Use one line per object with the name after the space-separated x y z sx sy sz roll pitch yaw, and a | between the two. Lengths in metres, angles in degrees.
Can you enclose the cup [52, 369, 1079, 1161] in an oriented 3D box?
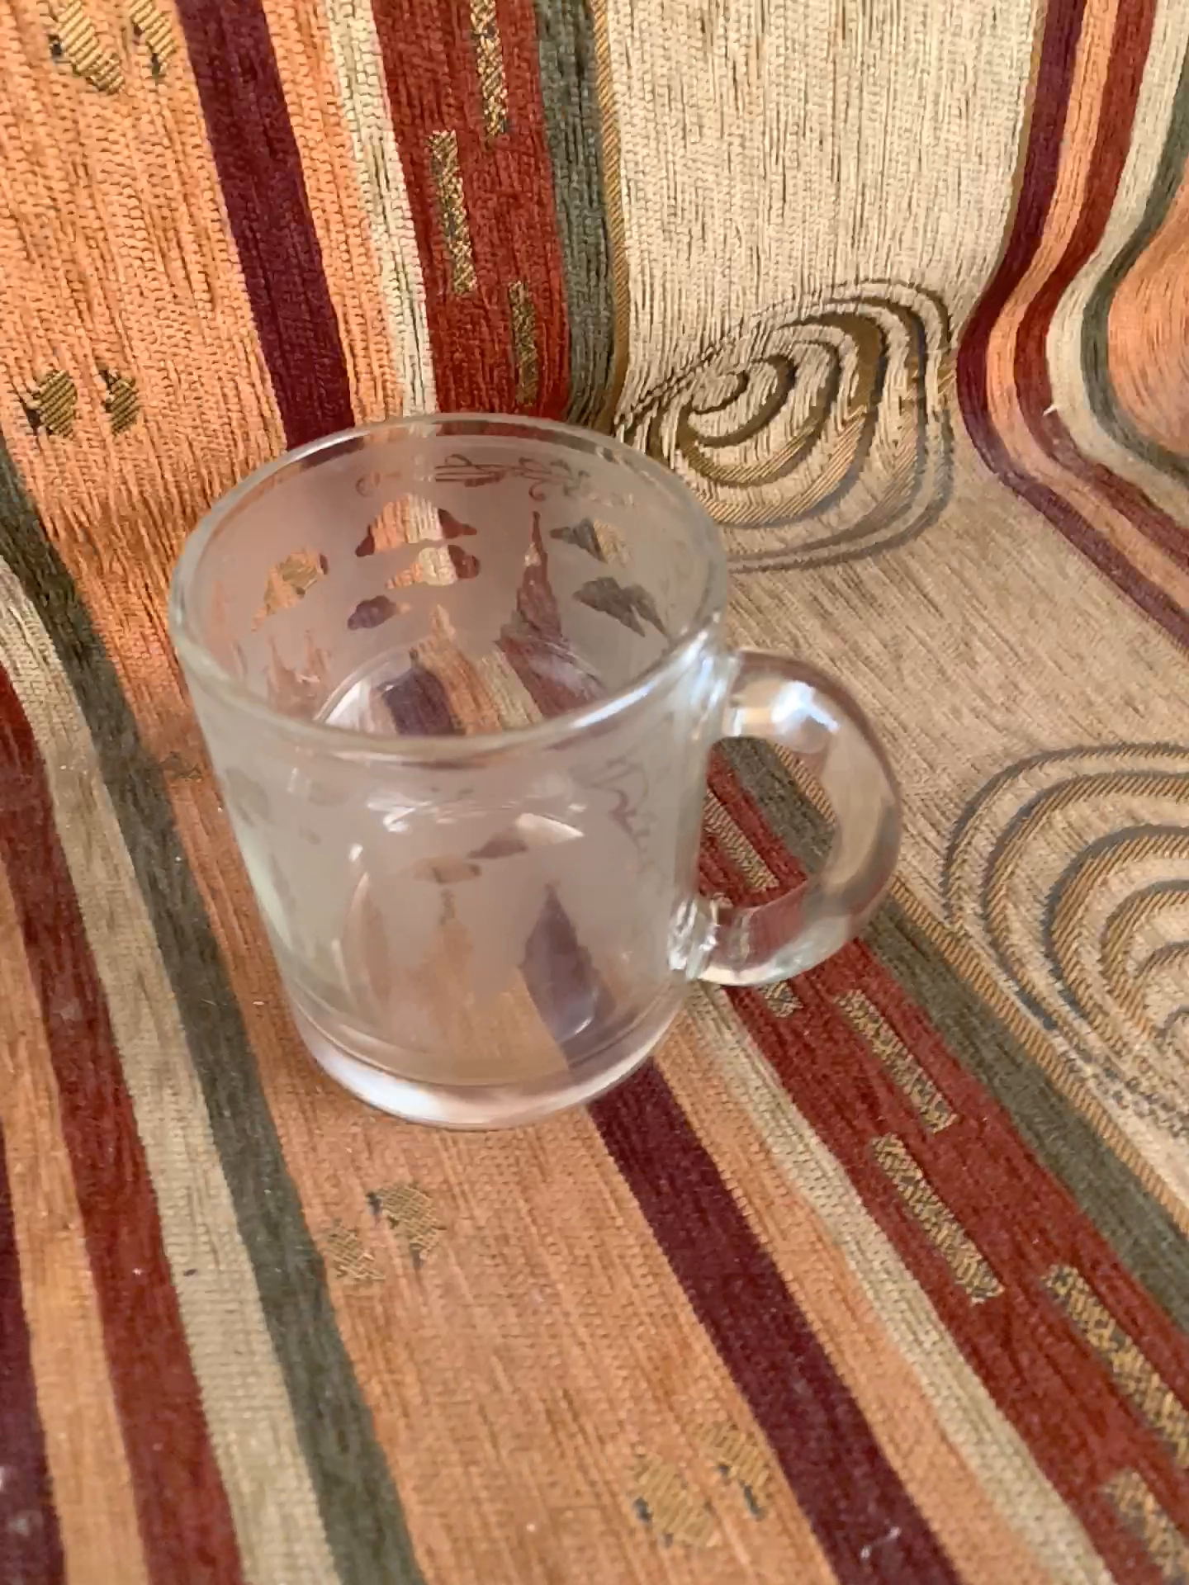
-0.001 -0.006 0.197 0.115 0.086 0.085 3 45 4 | cup
